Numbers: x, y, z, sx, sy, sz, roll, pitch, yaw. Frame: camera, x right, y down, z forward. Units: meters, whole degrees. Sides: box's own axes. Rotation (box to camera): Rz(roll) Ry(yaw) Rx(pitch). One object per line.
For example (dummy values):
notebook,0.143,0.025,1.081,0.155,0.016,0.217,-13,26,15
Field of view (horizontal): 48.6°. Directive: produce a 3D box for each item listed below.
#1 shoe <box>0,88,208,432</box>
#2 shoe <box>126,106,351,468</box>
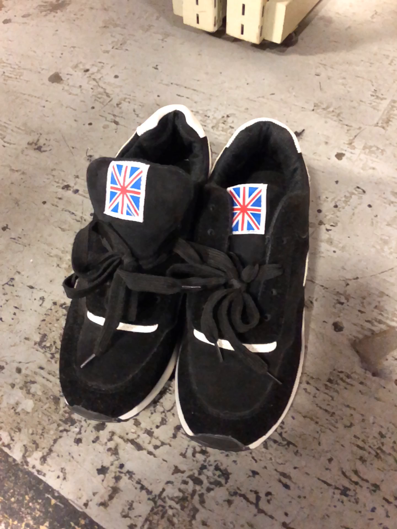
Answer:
shoe,-0.066,-0.009,0.347,0.100,0.119,0.231,10,60,8
shoe,0.042,0.009,0.339,0.110,0.109,0.241,10,60,8
